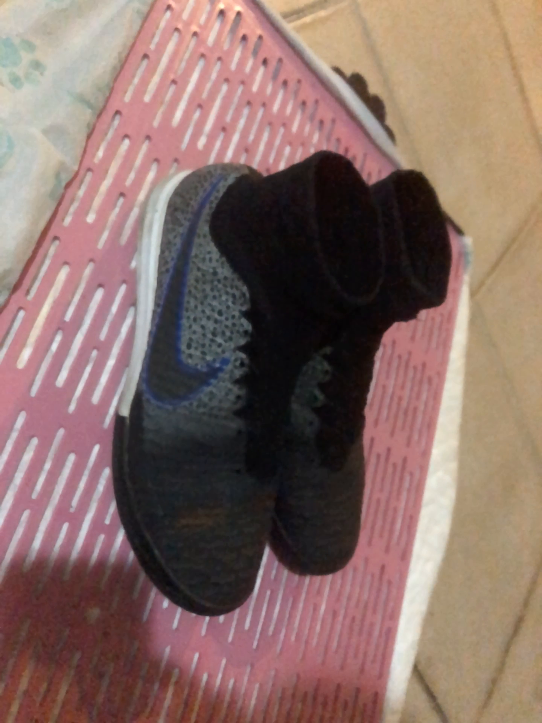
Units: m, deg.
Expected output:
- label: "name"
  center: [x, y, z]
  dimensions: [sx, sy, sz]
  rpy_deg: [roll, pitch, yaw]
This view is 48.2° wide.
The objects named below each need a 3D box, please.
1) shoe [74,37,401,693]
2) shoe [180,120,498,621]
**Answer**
- label: "shoe"
  center: [-0.027, 0.003, 0.336]
  dimensions: [0.101, 0.149, 0.270]
  rpy_deg: [4, 82, -44]
- label: "shoe"
  center: [0.040, 0.007, 0.401]
  dimensions: [0.101, 0.149, 0.260]
  rpy_deg: [-6, 89, -45]
